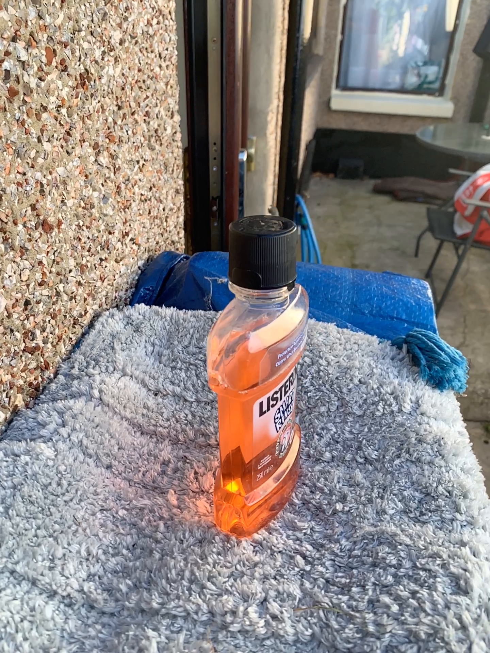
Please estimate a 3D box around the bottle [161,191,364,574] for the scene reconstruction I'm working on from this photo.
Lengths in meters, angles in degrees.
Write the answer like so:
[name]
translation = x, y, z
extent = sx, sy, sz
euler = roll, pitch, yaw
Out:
[bottle]
translation = 0.010, 0.027, 0.251
extent = 0.050, 0.158, 0.091
euler = 17, 34, 23
